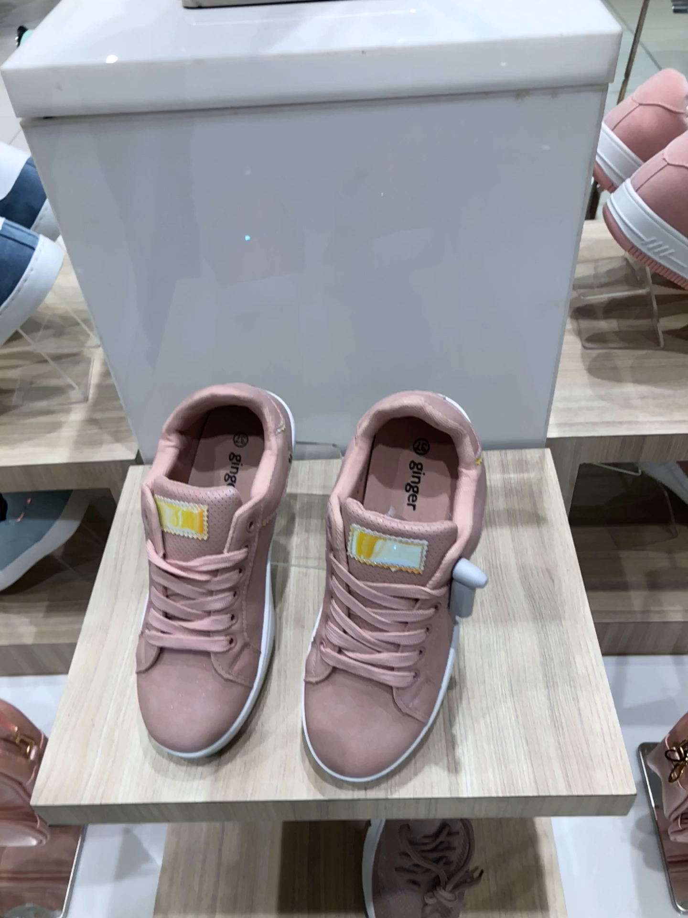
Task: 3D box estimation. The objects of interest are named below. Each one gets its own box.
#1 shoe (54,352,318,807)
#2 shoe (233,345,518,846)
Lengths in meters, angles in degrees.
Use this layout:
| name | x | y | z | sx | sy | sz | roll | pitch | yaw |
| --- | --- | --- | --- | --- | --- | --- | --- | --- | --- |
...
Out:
| name | x | y | z | sx | sy | sz | roll | pitch | yaw |
| --- | --- | --- | --- | --- | --- | --- | --- | --- | --- |
| shoe | -0.095 | 0.069 | 0.494 | 0.103 | 0.094 | 0.252 | 7 | 85 | 12 |
| shoe | 0.028 | 0.076 | 0.476 | 0.099 | 0.094 | 0.262 | 13 | 84 | 15 |
